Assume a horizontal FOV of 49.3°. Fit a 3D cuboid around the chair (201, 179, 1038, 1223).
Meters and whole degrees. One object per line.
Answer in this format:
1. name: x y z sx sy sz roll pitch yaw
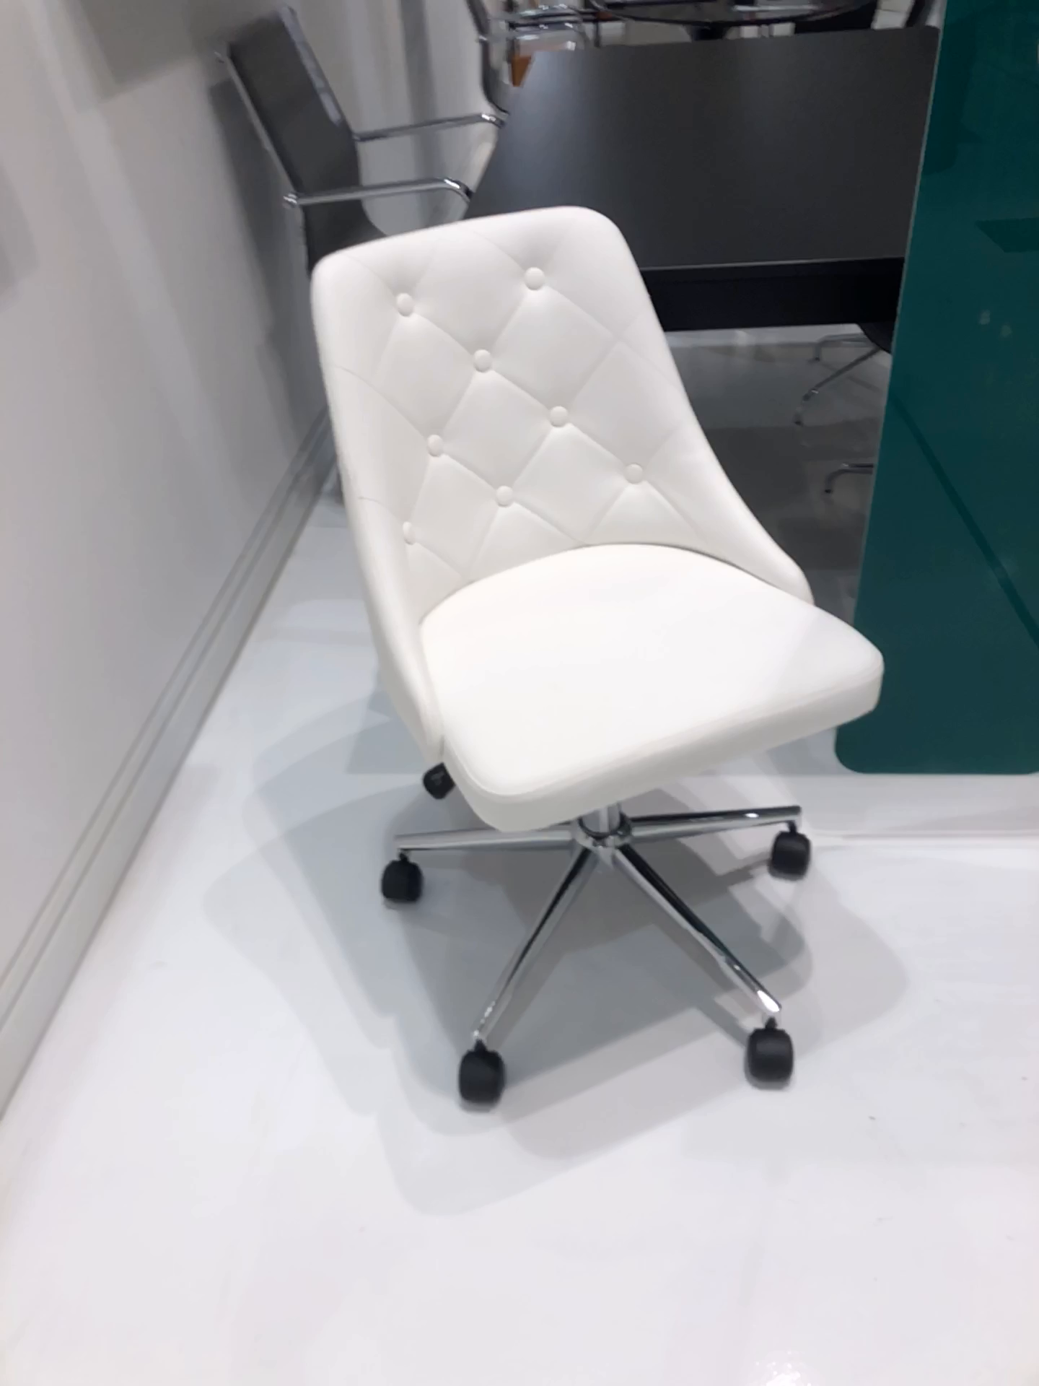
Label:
1. chair: 0.089 -0.028 1.299 0.601 0.853 0.644 -17 37 -16
